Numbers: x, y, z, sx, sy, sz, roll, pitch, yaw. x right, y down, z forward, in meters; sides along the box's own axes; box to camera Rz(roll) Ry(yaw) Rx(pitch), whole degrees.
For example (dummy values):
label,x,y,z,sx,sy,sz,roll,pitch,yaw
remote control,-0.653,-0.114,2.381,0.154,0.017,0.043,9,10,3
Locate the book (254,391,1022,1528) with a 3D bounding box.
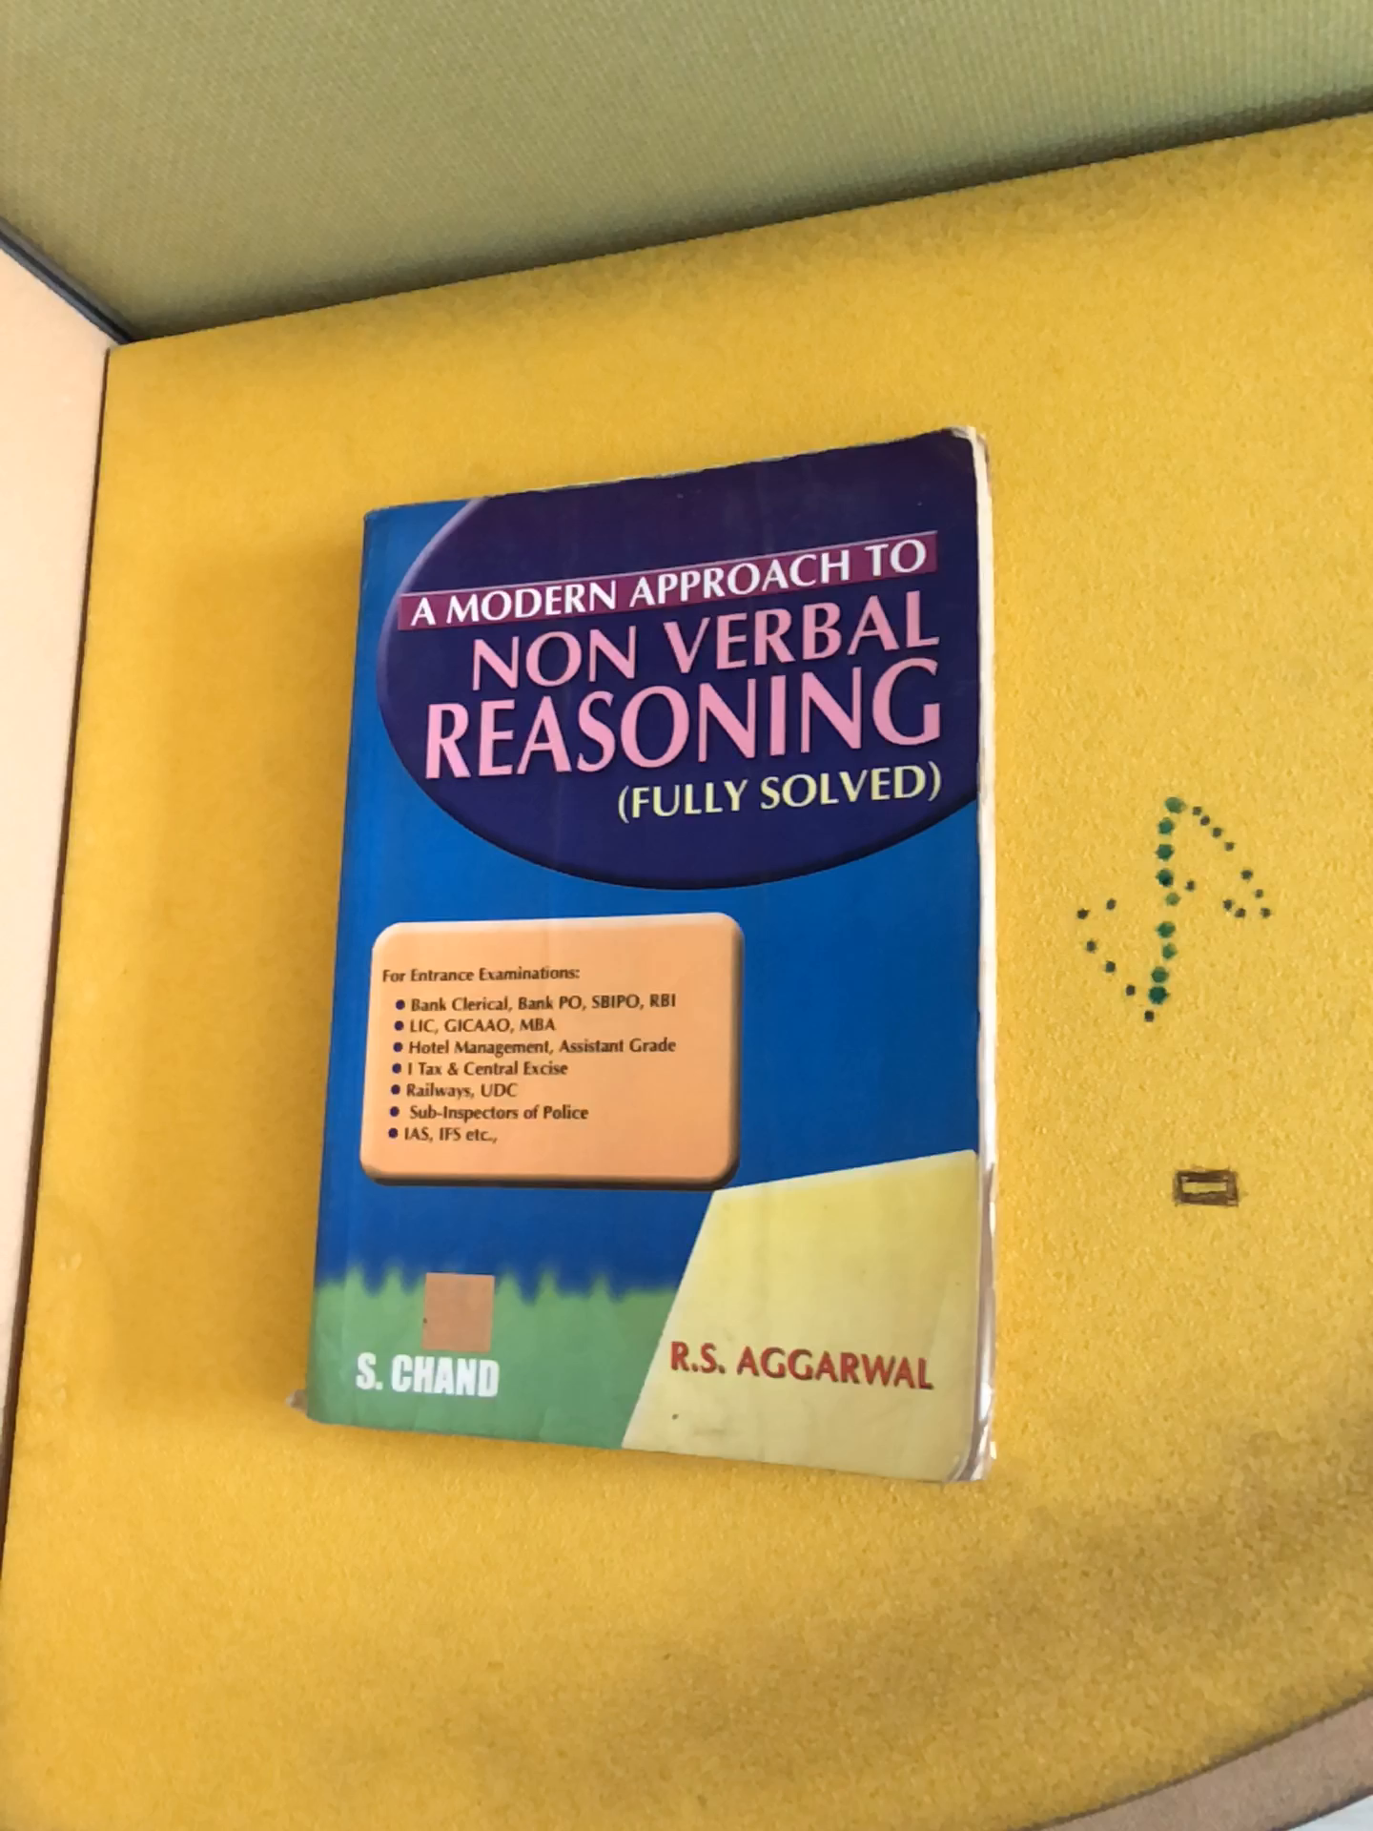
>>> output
label,x,y,z,sx,sy,sz,roll,pitch,yaw
book,-0.010,0.008,0.364,0.170,0.040,0.240,-2,79,19
